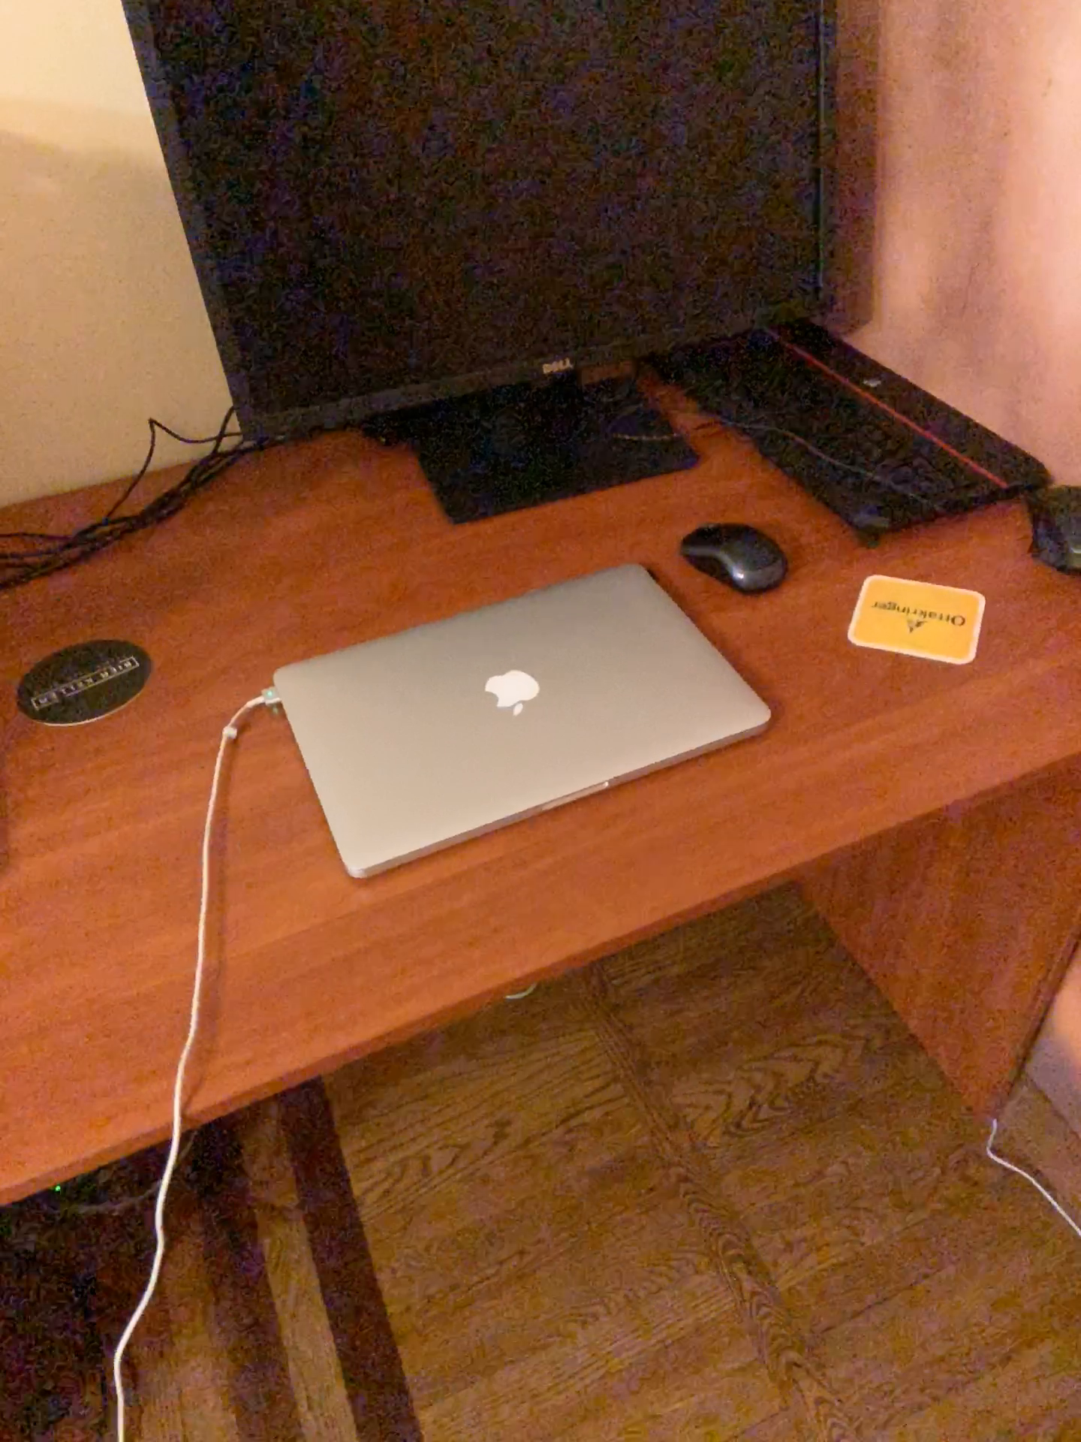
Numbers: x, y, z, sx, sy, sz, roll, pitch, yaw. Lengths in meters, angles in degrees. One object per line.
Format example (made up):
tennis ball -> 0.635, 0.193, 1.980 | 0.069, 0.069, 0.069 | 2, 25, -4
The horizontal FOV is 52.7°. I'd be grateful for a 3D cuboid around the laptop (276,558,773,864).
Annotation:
laptop -> -0.019, -0.023, 0.794 | 0.306, 0.001, 0.214 | -18, 45, -16
